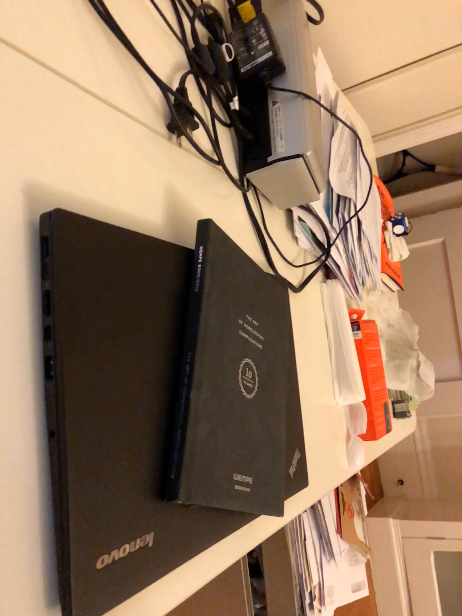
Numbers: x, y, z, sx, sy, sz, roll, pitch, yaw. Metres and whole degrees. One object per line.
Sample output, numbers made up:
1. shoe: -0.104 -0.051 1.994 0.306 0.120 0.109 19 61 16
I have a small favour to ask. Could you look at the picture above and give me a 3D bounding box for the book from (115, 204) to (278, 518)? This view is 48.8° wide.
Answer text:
1. book: -0.012 0.053 0.427 0.171 0.030 0.220 36 50 -51
